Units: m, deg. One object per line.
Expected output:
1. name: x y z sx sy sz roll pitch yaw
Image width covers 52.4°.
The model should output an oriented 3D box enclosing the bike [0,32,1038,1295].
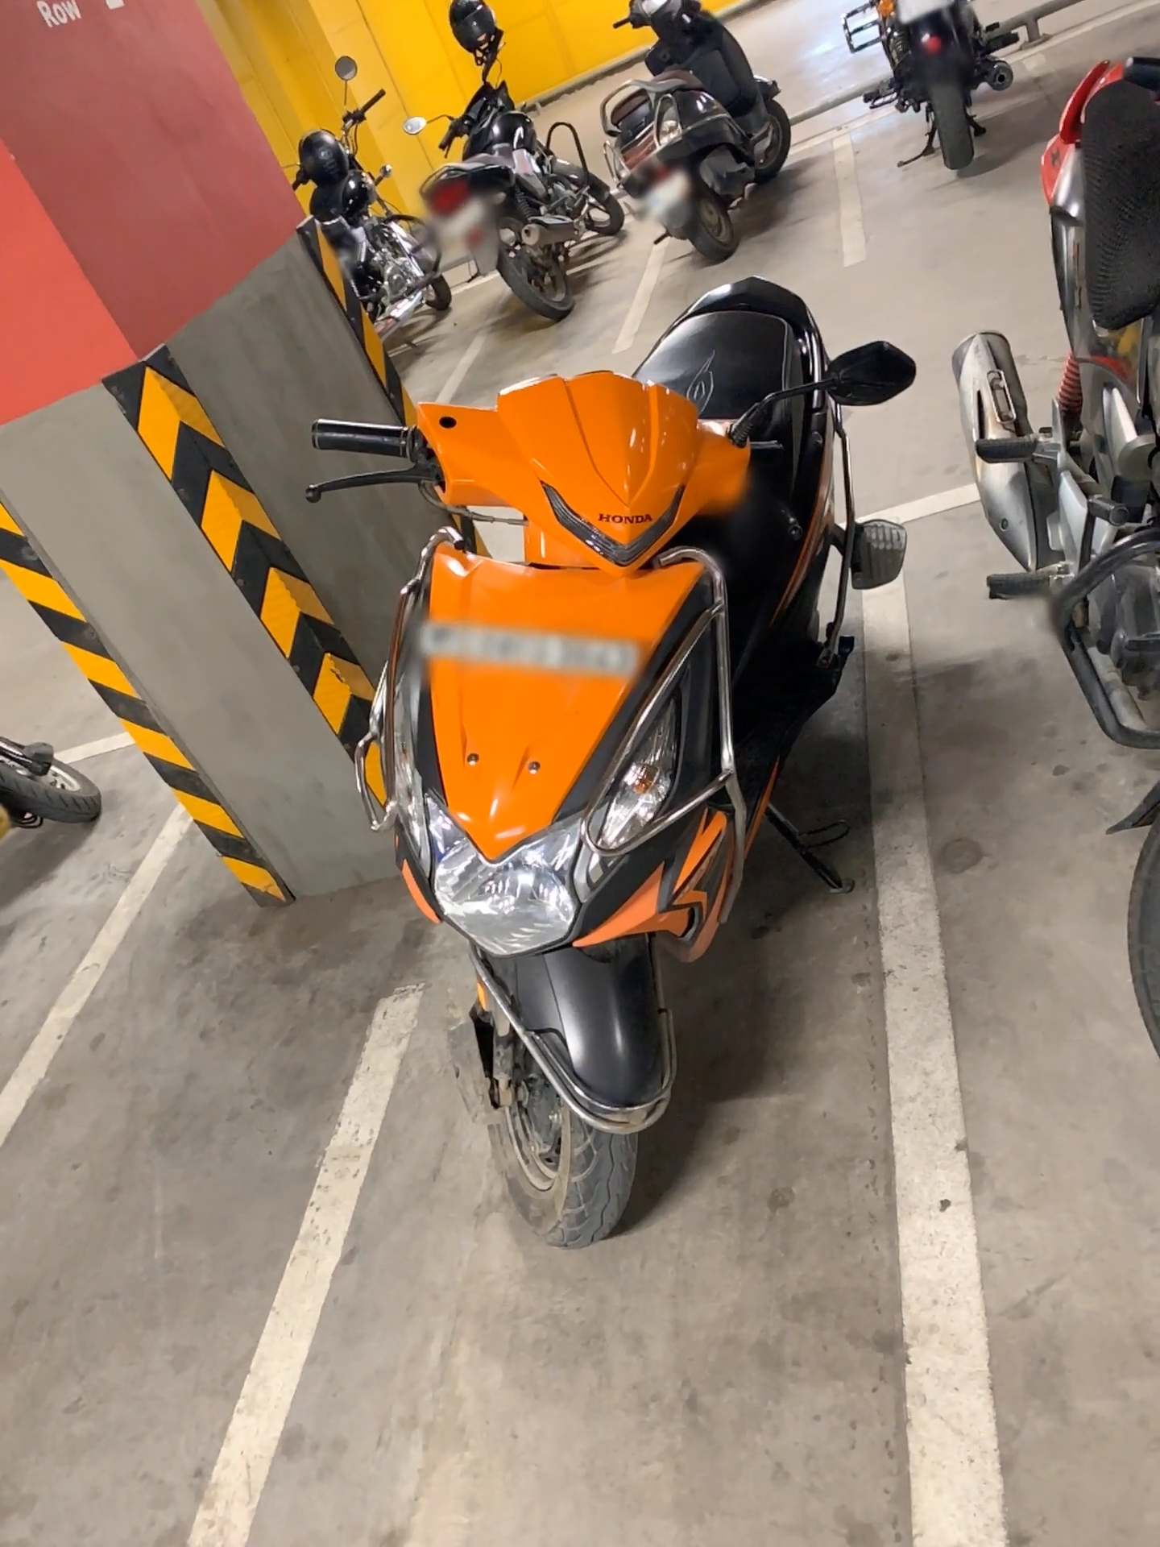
1. bike: 0.211 -0.236 1.907 0.726 1.172 1.610 -8 37 29
